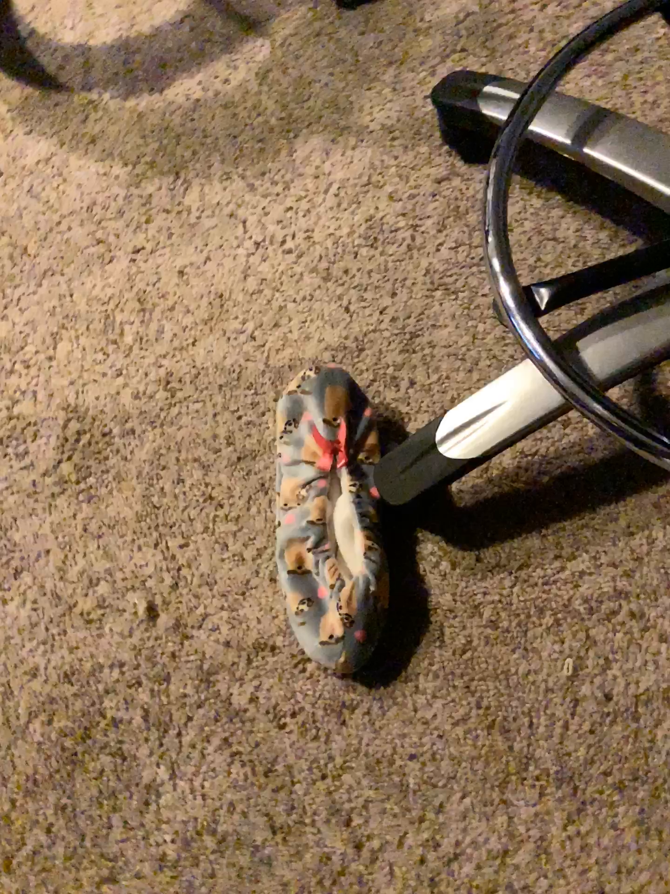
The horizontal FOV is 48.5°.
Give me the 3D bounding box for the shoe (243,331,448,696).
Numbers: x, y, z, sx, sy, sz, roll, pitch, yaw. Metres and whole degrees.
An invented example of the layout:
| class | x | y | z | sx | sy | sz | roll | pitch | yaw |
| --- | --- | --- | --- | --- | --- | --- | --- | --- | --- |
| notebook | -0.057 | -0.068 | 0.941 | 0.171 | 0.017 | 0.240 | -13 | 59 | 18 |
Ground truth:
| class | x | y | z | sx | sy | sz | roll | pitch | yaw |
| --- | --- | --- | --- | --- | --- | --- | --- | --- | --- |
| shoe | 0.004 | 0.049 | 0.586 | 0.120 | 0.070 | 0.260 | -11 | 66 | 7 |
